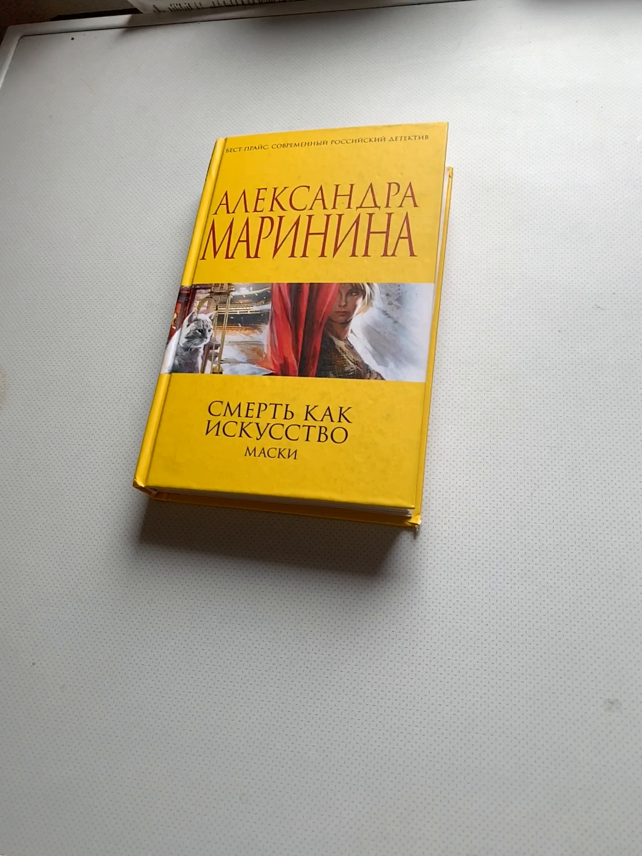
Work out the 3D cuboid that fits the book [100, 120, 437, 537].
[{"bbox_3d":[-0.016,-0.053,0.300,0.120,0.030,0.189,3,69,13],"label":"book"}]
